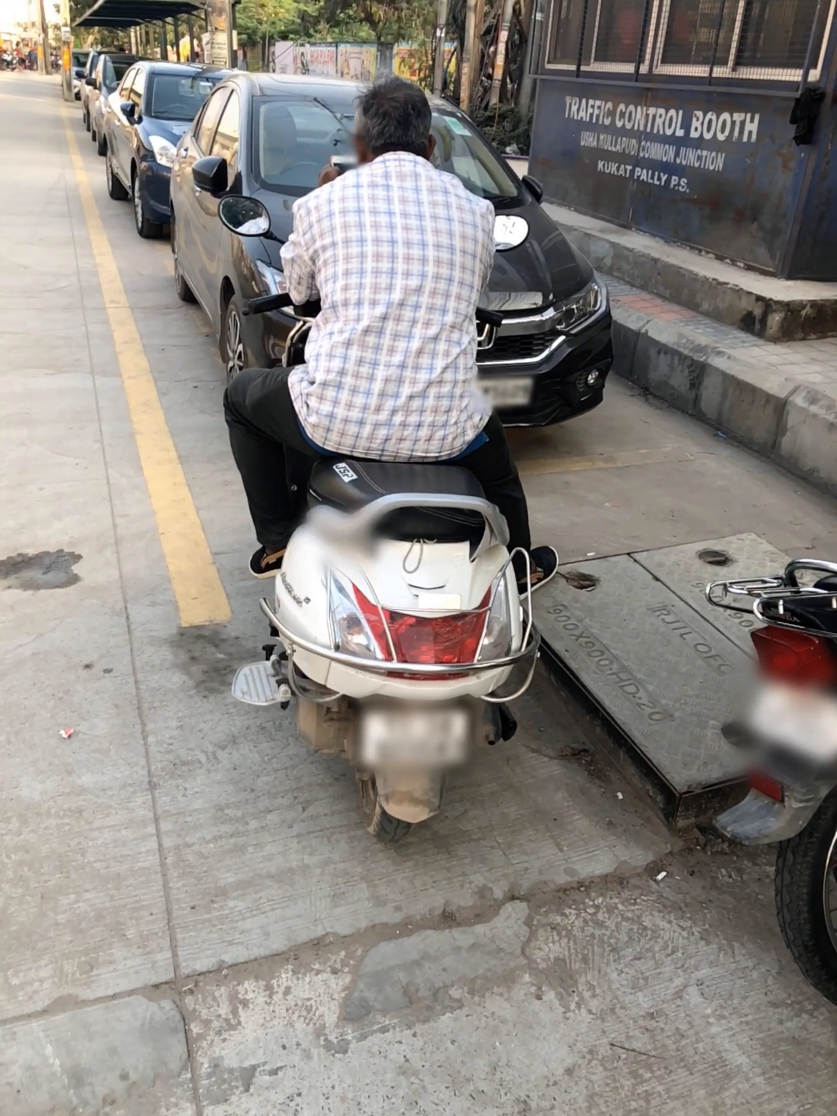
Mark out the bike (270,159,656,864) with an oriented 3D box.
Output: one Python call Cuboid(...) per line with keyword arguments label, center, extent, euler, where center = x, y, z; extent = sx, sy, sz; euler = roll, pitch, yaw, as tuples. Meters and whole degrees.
Cuboid(label="bike", center=(-0.036, -0.289, 2.305), extent=(0.641, 0.858, 1.609), euler=(-1, 36, -9))
